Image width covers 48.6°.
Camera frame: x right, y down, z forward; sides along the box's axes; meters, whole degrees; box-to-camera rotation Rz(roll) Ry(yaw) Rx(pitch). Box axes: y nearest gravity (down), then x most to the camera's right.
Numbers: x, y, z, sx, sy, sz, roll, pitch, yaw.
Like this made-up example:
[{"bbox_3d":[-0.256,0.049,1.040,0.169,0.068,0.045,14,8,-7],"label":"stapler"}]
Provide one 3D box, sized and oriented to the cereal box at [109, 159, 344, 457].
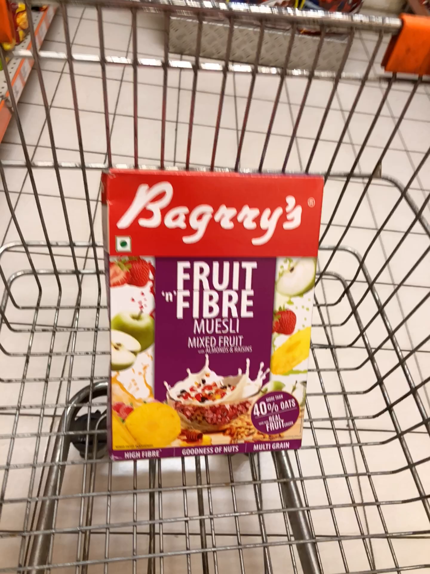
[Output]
[{"bbox_3d":[0.003,0.017,0.437,0.190,0.249,0.070,0,12,-10],"label":"cereal box"}]
